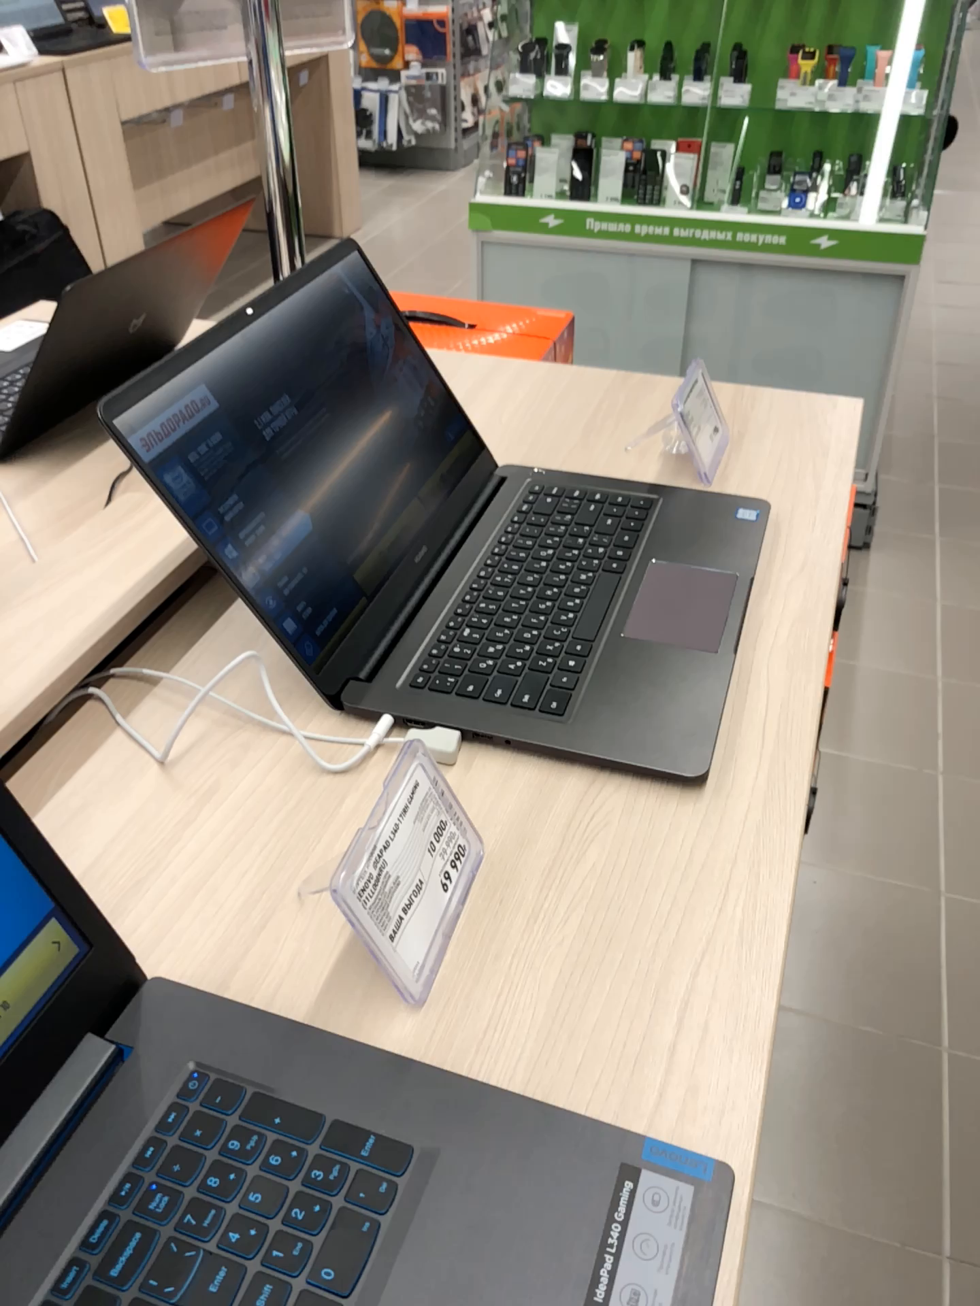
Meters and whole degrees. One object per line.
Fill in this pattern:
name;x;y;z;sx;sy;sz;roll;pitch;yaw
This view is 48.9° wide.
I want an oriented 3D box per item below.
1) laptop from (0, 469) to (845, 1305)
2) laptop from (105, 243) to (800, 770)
laptop;-0.146;0.178;0.256;0.378;0.242;0.394;11;37;16
laptop;0.007;-0.132;0.752;0.357;0.180;0.346;10;37;14
